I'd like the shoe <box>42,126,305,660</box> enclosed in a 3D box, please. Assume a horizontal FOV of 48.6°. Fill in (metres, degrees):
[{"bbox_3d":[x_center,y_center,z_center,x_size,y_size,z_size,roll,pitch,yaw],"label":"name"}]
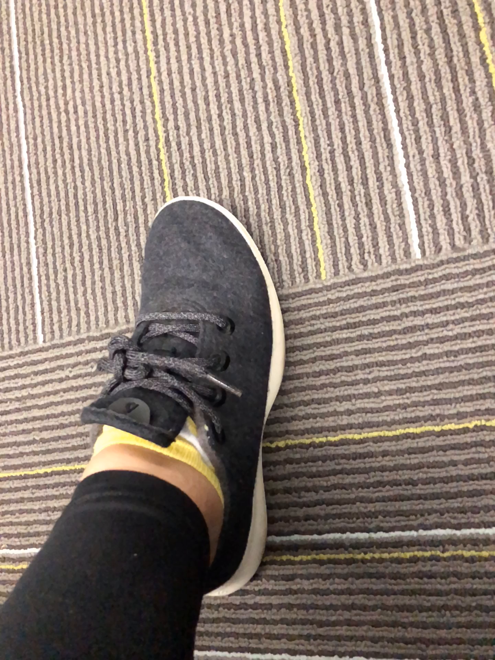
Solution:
[{"bbox_3d":[-0.044,0.034,0.324,0.120,0.080,0.260,-5,84,22],"label":"shoe"}]
